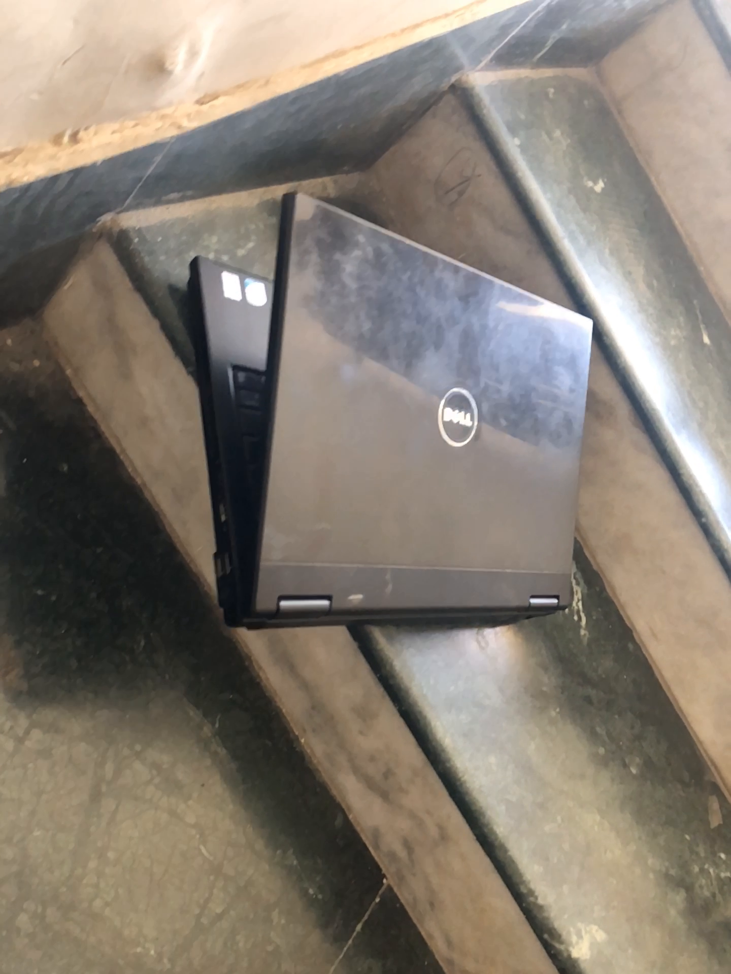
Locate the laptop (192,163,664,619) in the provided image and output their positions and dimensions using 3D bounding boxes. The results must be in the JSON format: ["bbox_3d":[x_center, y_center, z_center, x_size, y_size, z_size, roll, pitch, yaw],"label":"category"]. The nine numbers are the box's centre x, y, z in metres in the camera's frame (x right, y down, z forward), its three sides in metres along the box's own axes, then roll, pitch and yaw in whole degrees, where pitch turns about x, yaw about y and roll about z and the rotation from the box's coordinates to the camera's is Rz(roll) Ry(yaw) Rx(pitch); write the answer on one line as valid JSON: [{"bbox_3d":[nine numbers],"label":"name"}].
[{"bbox_3d":[0.054,-0.038,0.544,0.303,0.095,0.232,7,65,-44],"label":"laptop"}]
